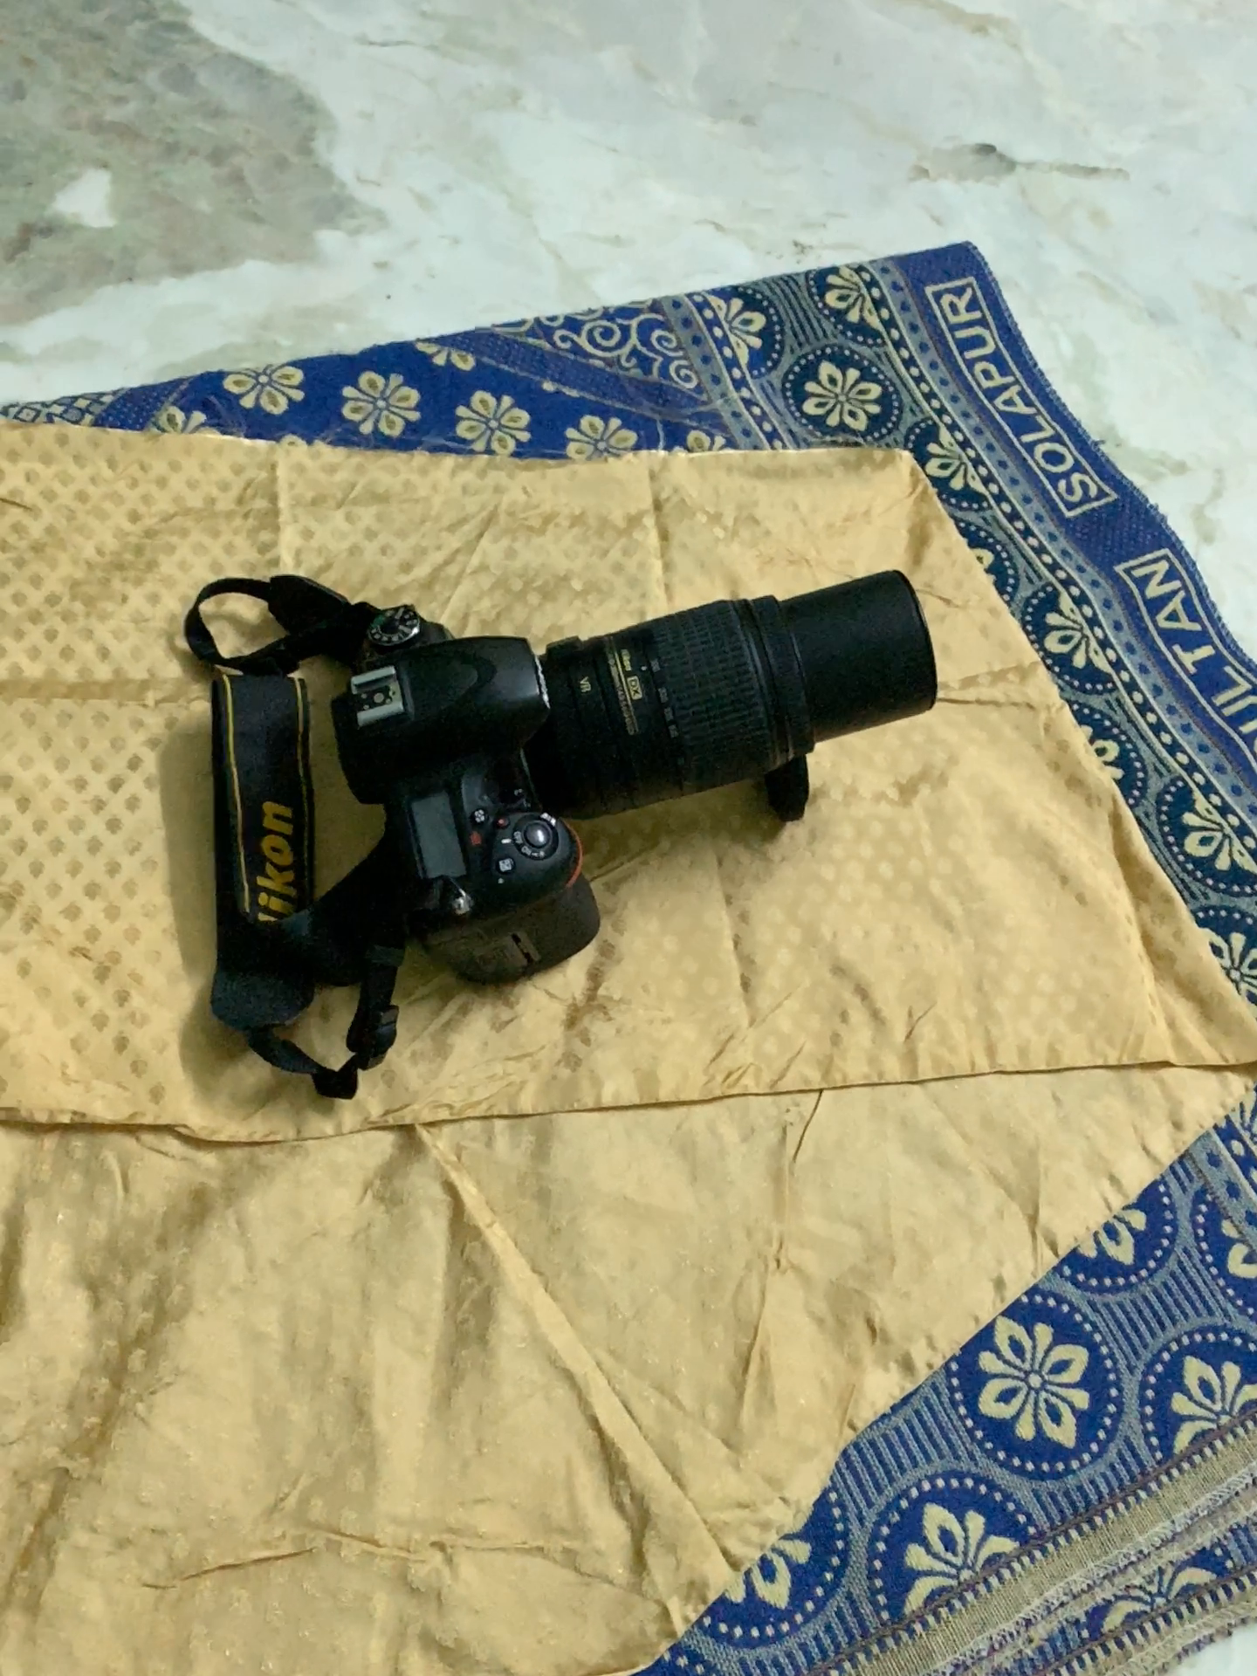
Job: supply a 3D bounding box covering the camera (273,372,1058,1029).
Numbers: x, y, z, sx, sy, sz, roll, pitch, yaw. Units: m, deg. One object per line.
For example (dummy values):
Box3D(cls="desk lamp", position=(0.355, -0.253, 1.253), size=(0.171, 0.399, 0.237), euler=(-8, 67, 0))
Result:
Box3D(cls="camera", position=(0.010, -0.044, 0.524), size=(0.240, 0.180, 0.140), euler=(-14, 65, -4))
